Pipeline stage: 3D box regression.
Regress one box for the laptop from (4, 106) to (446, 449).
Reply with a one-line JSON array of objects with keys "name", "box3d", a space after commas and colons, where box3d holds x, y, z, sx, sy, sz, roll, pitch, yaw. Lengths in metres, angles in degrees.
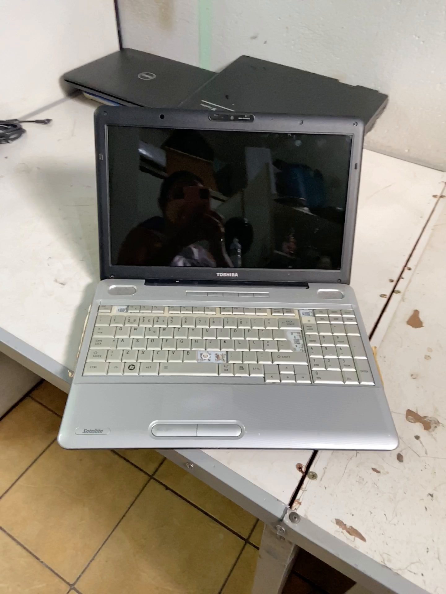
[{"name": "laptop", "box3d": [0.014, -0.047, 0.562, 0.370, 0.190, 0.401, 1, 47, -2]}]
